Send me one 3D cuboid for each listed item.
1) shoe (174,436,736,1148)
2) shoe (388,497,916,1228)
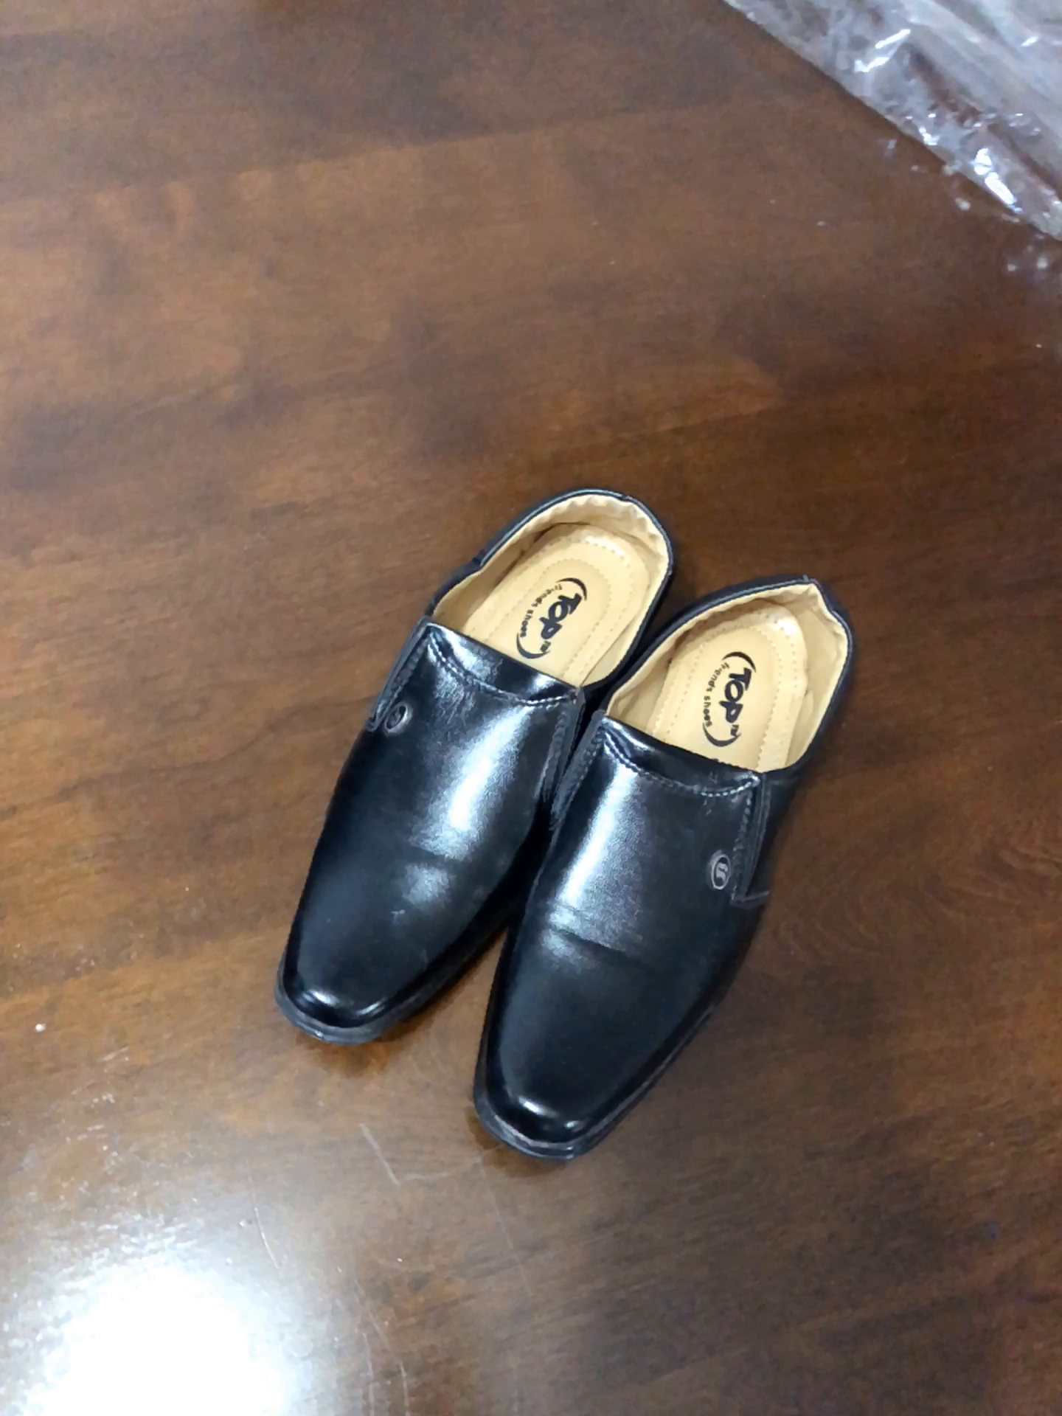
[{"bbox_3d":[-0.018,0.025,0.427,0.090,0.080,0.230,26,65,7],"label":"shoe"},{"bbox_3d":[0.045,0.052,0.424,0.090,0.090,0.230,26,65,7],"label":"shoe"}]
